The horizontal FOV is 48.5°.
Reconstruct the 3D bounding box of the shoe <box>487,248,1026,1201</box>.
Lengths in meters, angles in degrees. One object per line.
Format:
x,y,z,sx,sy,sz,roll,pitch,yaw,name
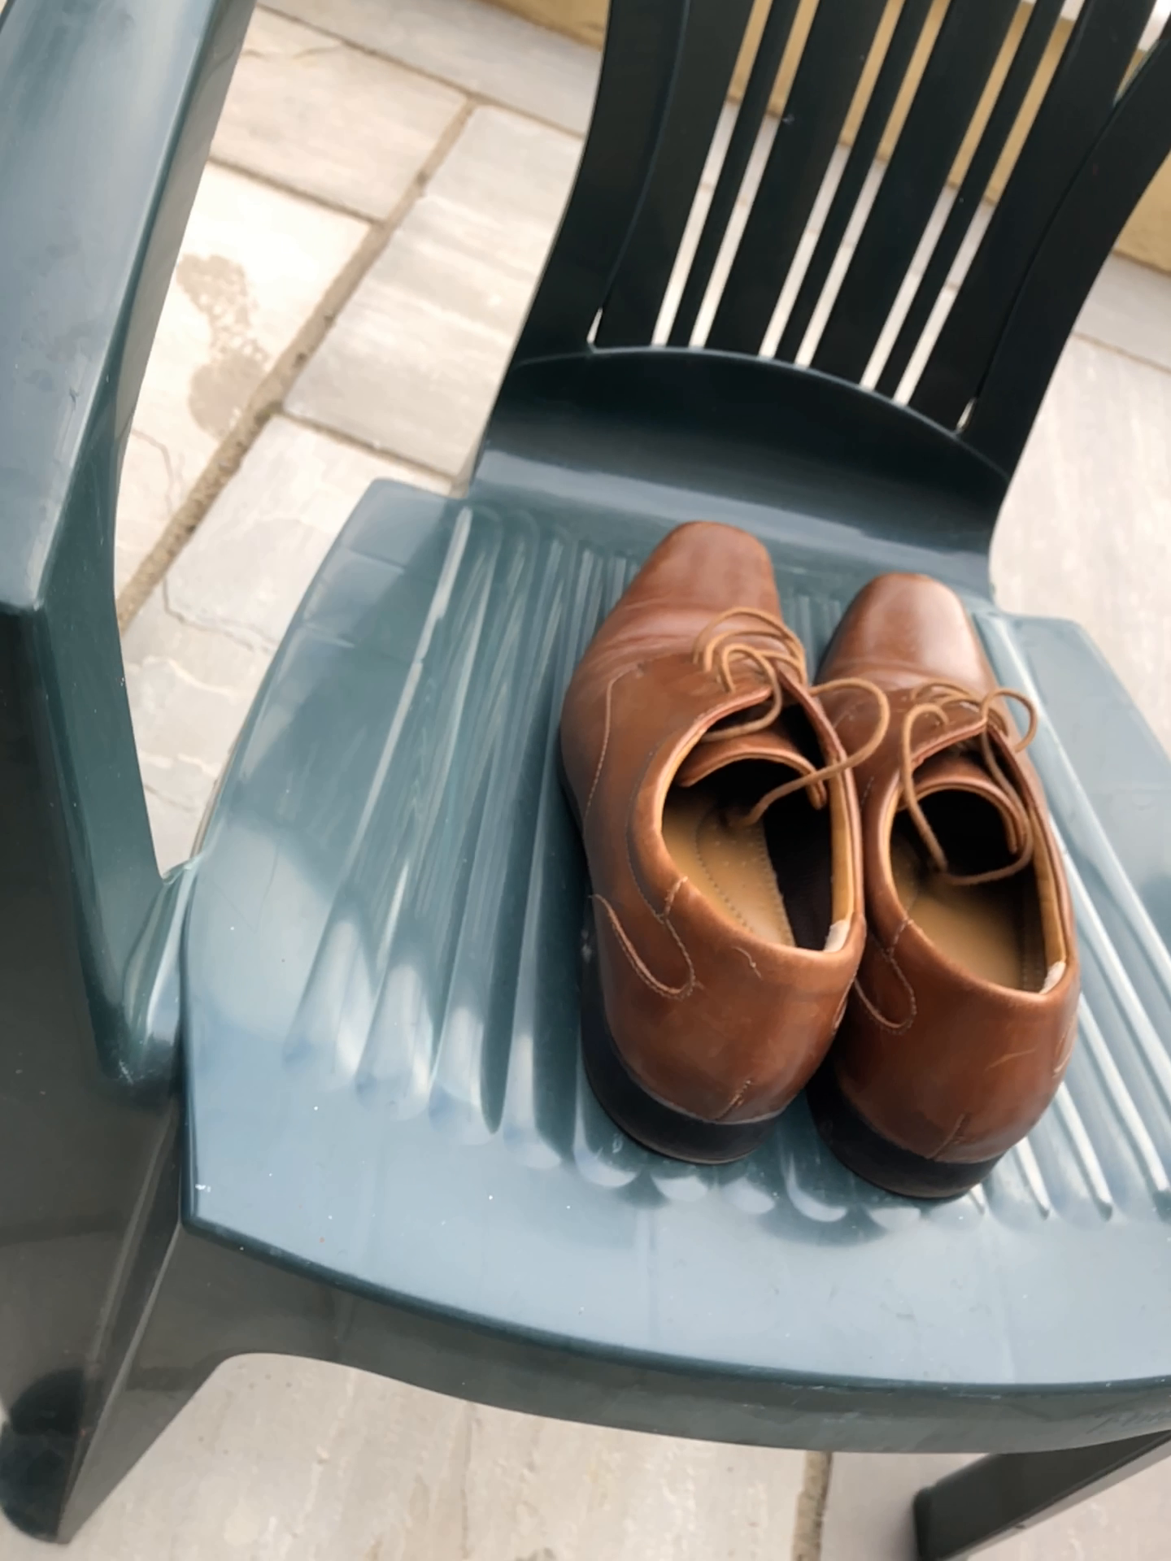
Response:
0.057,-0.032,0.431,0.110,0.109,0.292,15,53,-7,shoe

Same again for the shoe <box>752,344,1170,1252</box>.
0.143,-0.006,0.448,0.110,0.109,0.282,17,53,-6,shoe
